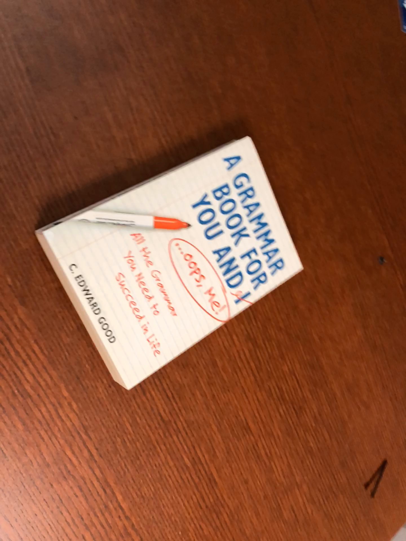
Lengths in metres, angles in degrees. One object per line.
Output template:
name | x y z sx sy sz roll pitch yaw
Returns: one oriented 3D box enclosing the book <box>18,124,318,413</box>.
book | -0.014 -0.013 0.422 0.241 0.040 0.170 -31 104 -27
